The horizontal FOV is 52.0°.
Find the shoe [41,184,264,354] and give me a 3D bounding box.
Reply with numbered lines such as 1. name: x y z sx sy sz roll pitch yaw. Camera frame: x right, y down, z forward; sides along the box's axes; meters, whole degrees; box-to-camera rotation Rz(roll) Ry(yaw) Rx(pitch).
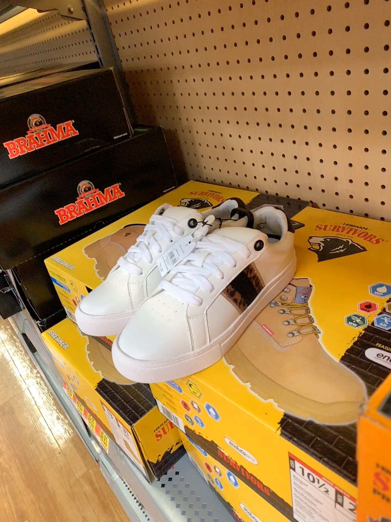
1. shoe: -0.044 -0.005 0.490 0.245 0.072 0.100 -31 35 -24

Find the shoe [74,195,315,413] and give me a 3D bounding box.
1. shoe: 0.013 0.025 0.417 0.241 0.070 0.103 -36 41 -31
